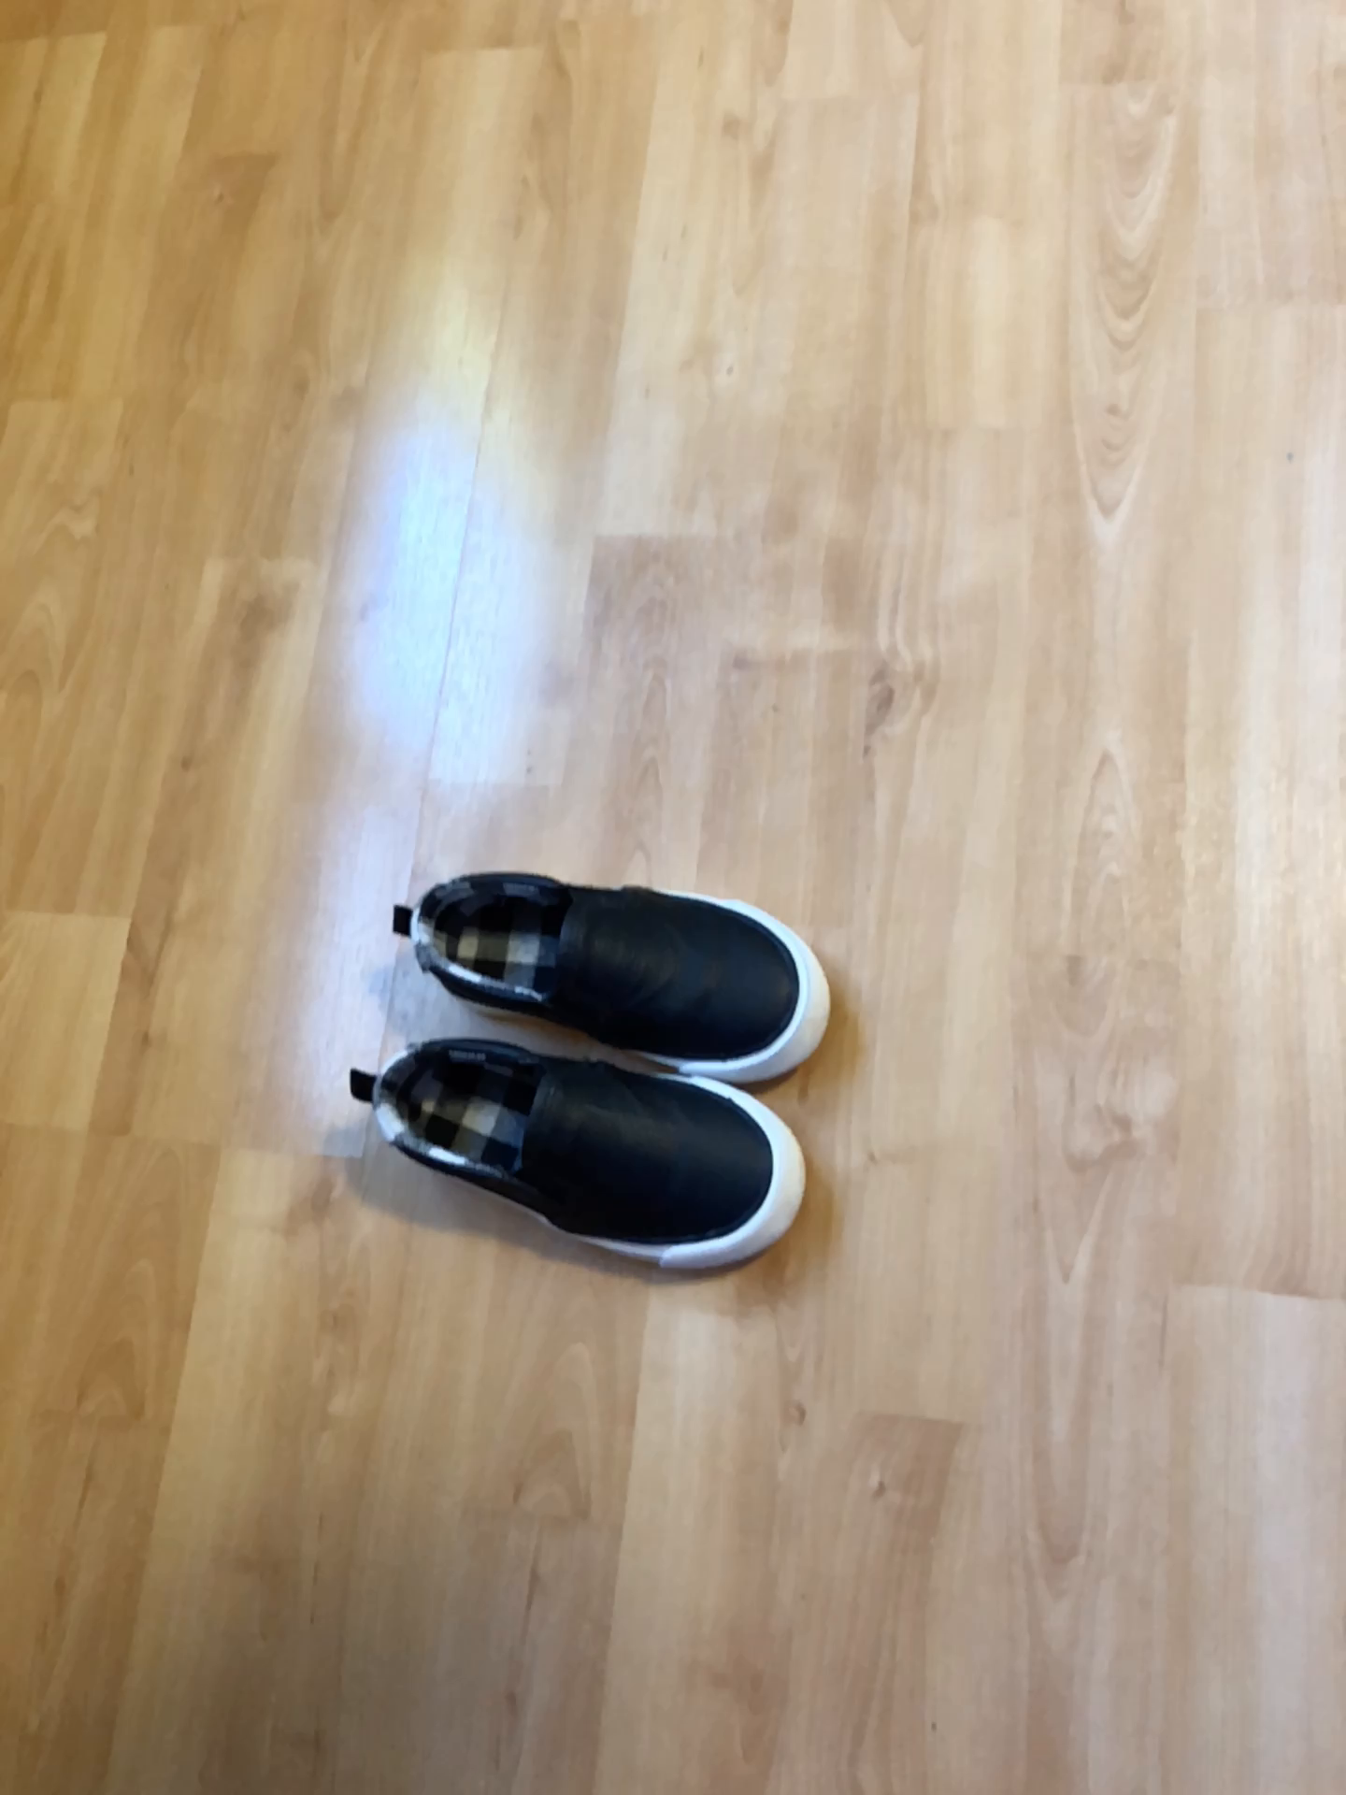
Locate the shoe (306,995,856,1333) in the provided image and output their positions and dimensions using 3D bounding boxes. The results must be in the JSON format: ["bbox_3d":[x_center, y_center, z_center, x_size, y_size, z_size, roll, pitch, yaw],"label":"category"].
[{"bbox_3d":[-0.031,0.098,0.552,0.180,0.060,0.080,10,76,14],"label":"shoe"}]

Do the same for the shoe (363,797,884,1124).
[{"bbox_3d":[-0.017,0.024,0.582,0.180,0.060,0.080,12,76,14],"label":"shoe"}]
